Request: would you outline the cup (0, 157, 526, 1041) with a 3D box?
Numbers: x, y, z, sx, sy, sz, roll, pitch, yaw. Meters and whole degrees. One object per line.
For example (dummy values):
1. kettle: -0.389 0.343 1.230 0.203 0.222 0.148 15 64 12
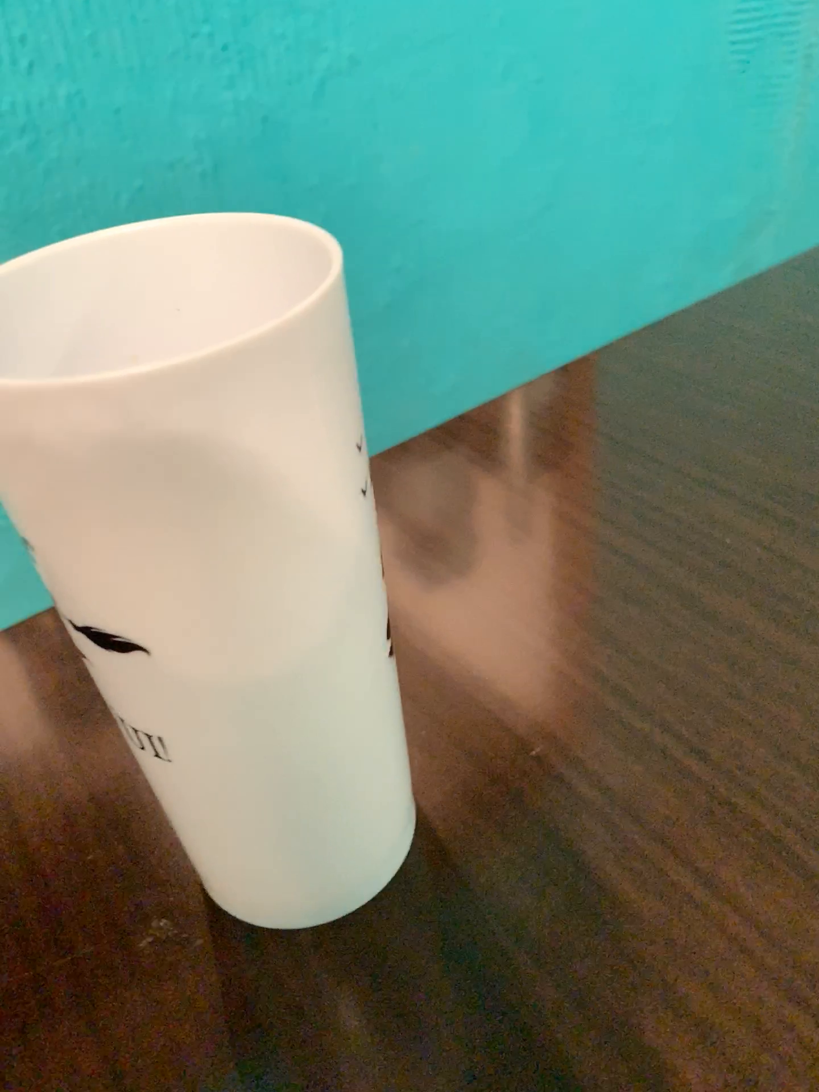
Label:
1. cup: -0.028 0.015 0.172 0.070 0.149 0.070 -5 39 4
